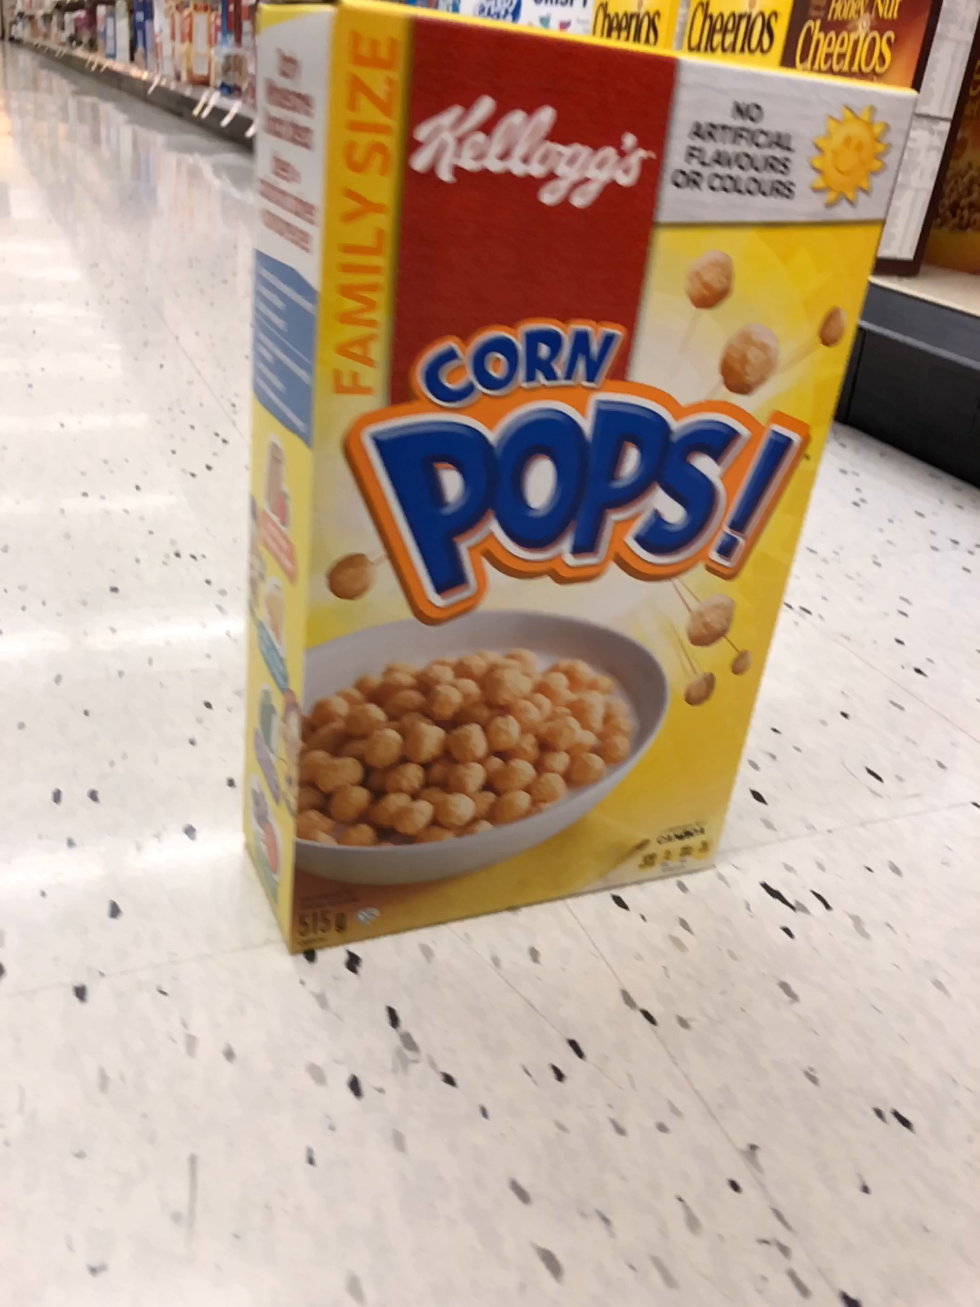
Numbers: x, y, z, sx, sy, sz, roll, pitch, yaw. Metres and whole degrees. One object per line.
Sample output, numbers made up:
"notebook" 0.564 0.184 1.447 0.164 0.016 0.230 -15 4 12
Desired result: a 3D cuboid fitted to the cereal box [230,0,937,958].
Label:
"cereal box" 0.013 -0.058 0.416 0.200 0.318 0.100 -5 30 -24
